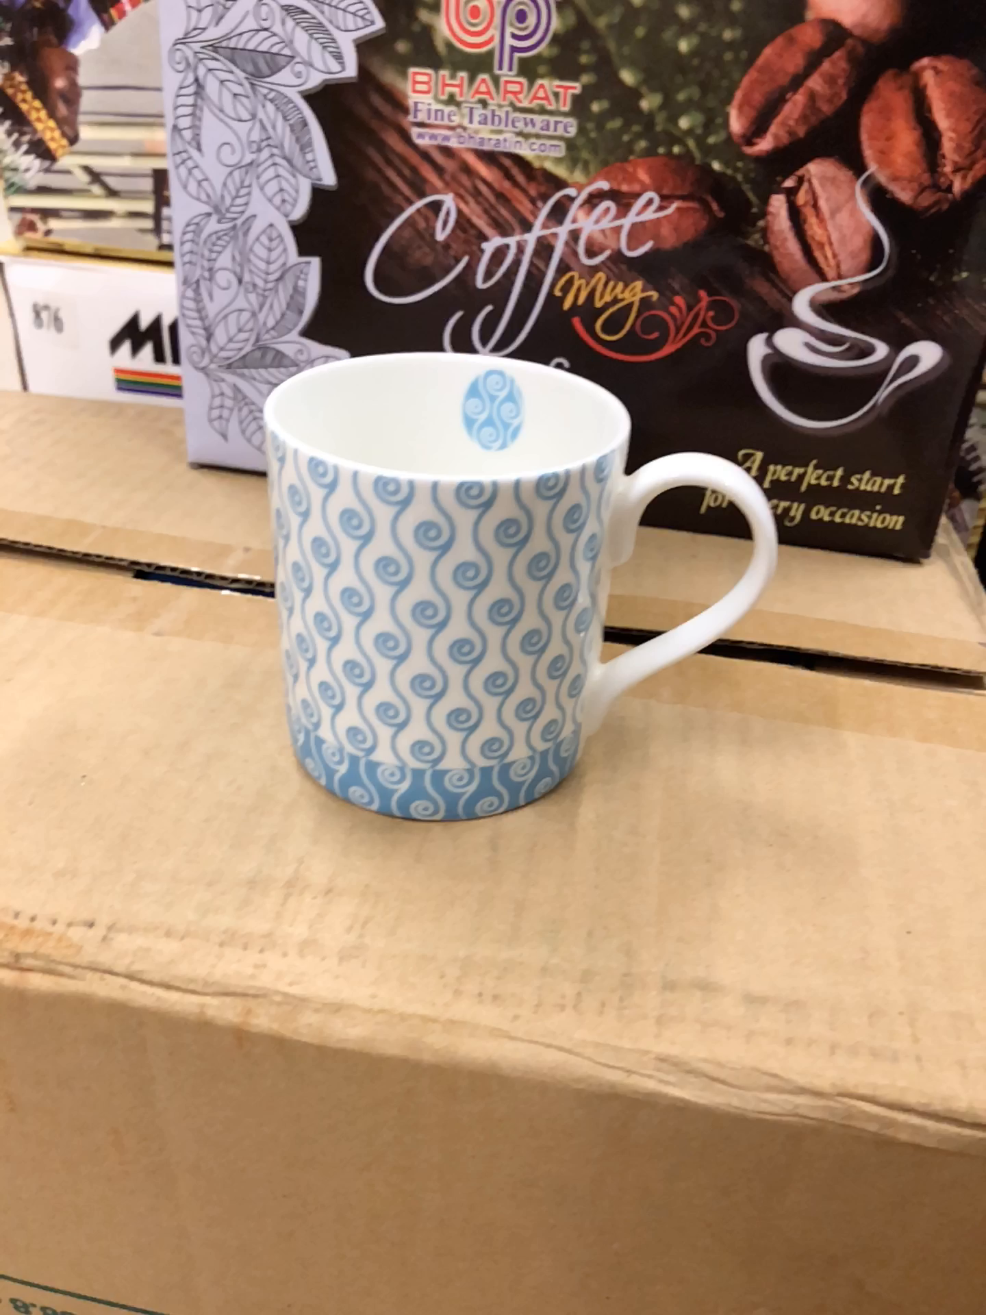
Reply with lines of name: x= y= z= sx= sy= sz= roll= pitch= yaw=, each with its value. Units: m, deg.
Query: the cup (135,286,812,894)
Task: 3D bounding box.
cup: x=-0.001 y=-0.017 z=0.229 sx=0.110 sy=0.089 sz=0.071 roll=8 pitch=33 yaw=6
